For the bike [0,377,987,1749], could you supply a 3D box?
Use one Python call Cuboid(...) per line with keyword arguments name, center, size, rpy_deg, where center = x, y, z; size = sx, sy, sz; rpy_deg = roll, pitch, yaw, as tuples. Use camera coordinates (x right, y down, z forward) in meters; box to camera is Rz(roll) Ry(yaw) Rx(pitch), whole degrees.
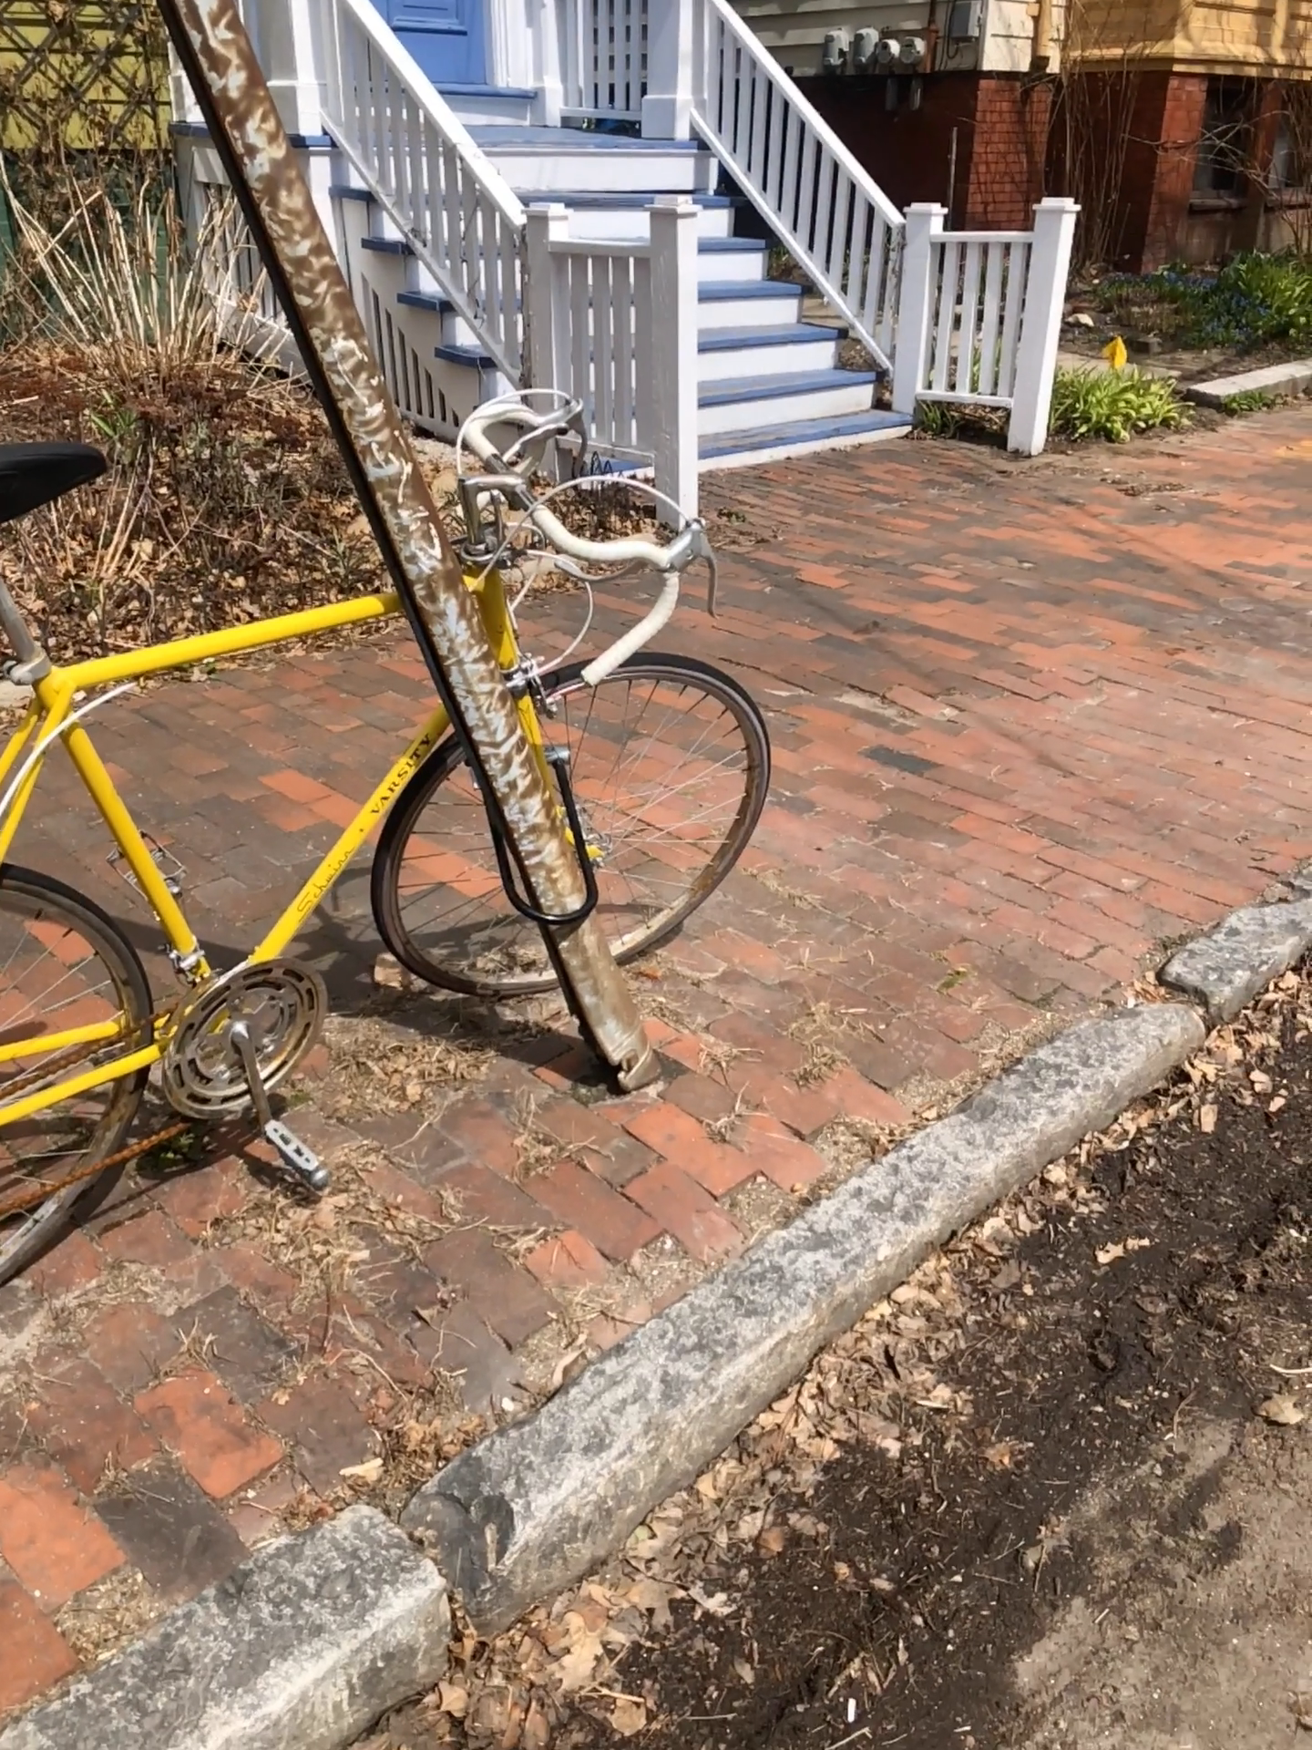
Cuboid(name="bike", center=(-0.384, 0.024, 1.738), size=(1.709, 0.855, 0.524), rpy_deg=(-26, 36, -35))
